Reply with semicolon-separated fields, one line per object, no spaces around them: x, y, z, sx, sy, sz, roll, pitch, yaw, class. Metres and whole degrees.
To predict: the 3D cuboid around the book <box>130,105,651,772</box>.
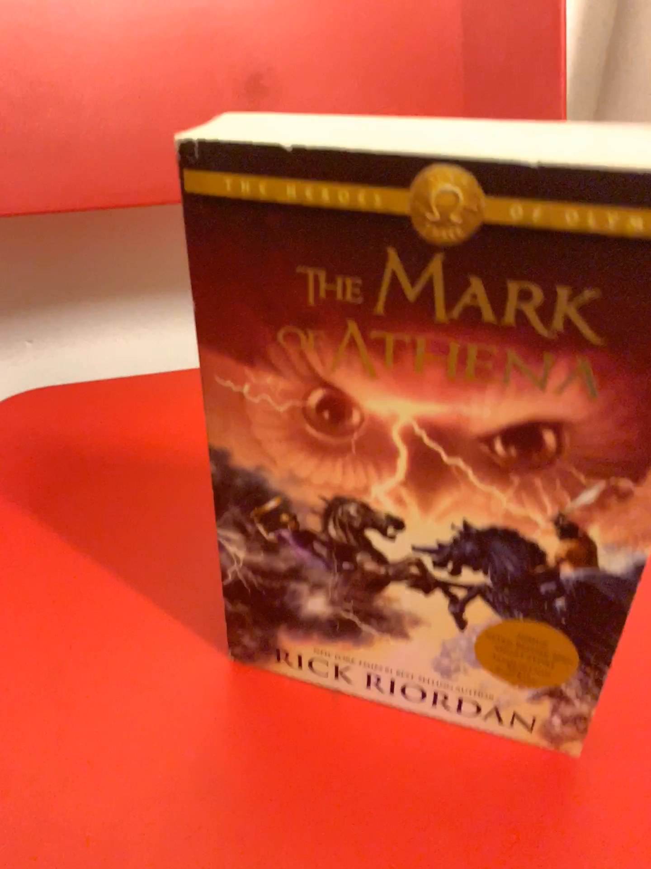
0.031;0.010;0.213;0.139;0.193;0.061;7;34;9;book
